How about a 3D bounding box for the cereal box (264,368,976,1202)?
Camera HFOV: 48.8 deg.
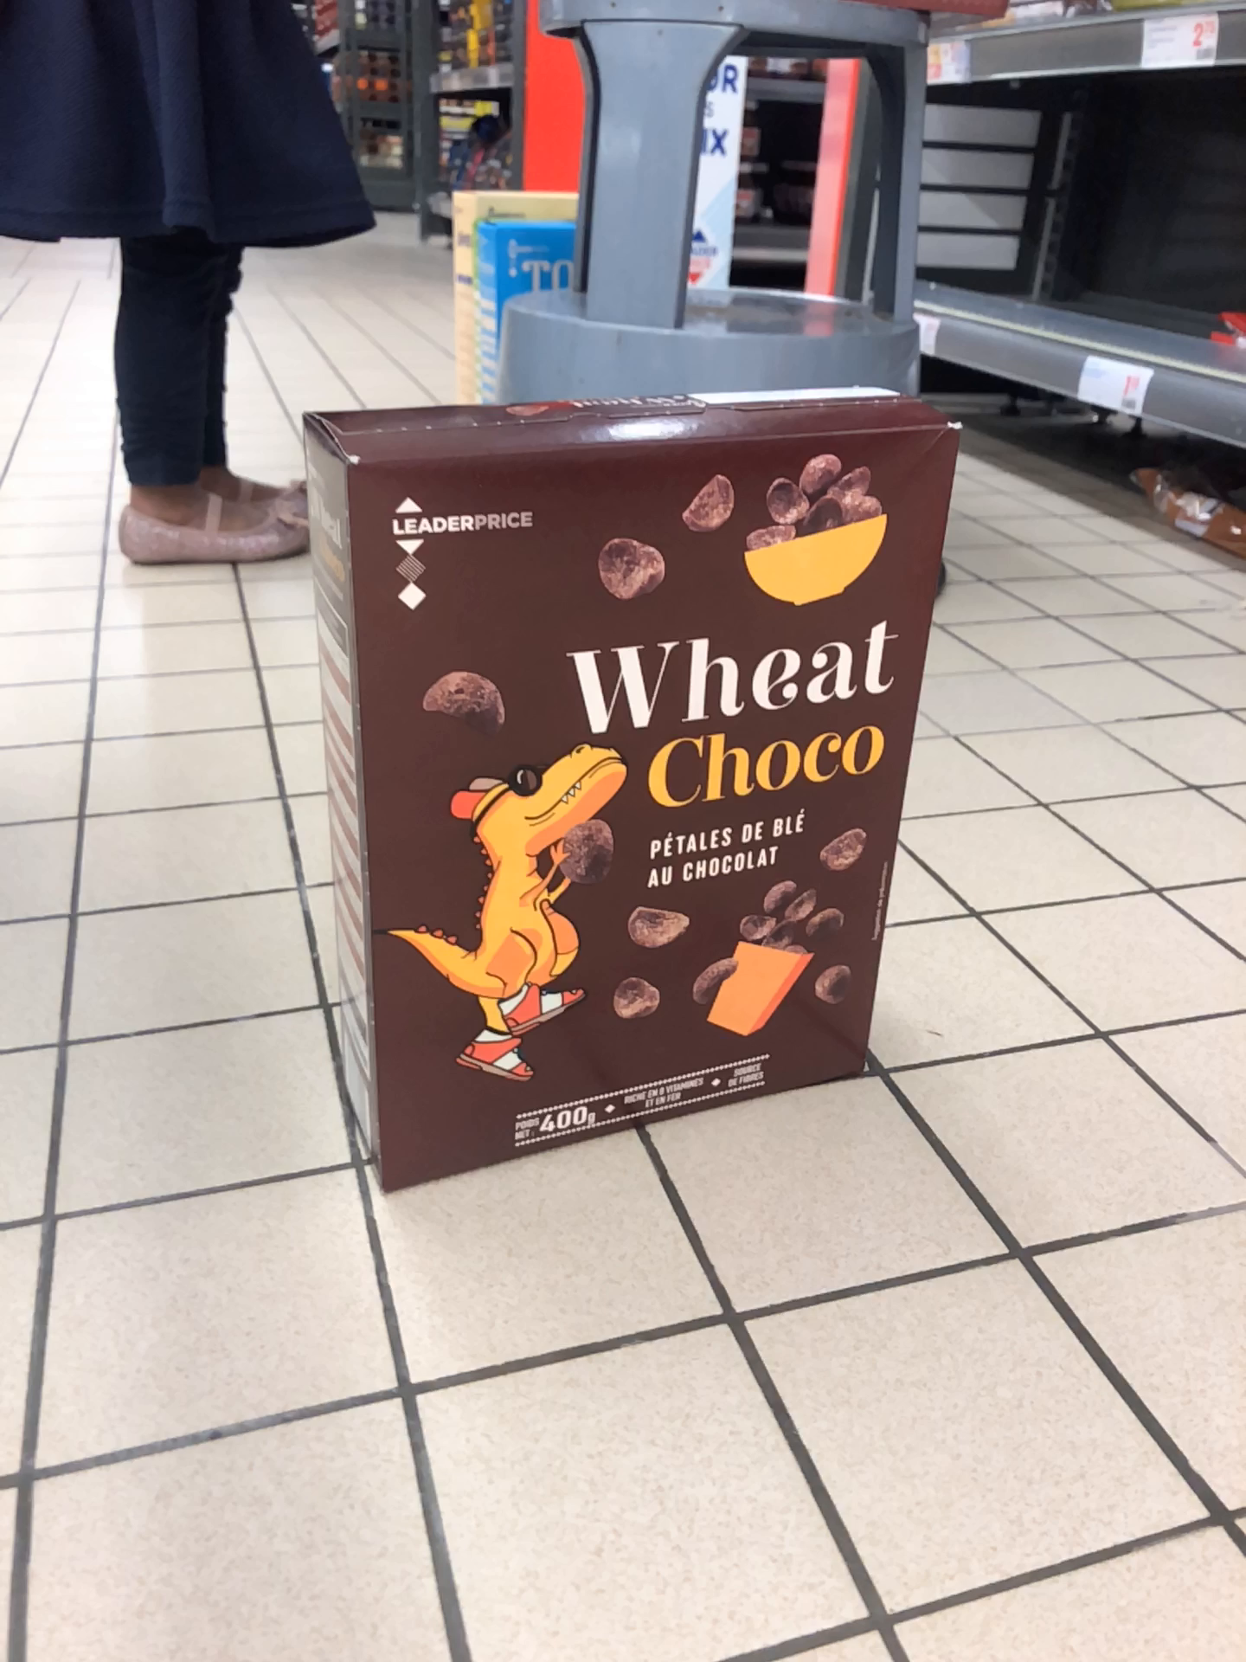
[{"bbox_3d":[-0.003,-0.019,0.462,0.201,0.249,0.070,-8,28,-21],"label":"cereal box"}]
